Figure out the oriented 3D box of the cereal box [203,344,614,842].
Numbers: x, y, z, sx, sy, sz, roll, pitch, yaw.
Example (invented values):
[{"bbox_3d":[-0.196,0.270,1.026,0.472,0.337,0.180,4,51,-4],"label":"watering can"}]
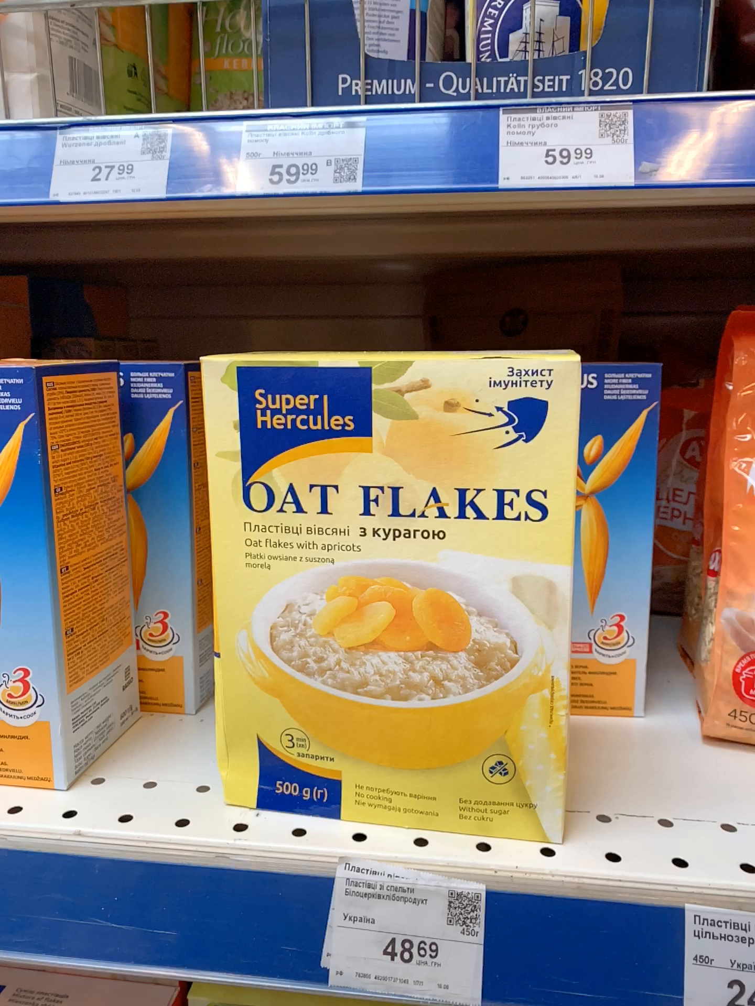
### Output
[{"bbox_3d":[0.013,0.030,0.330,0.150,0.189,0.060,2,11,11],"label":"cereal box"}]
